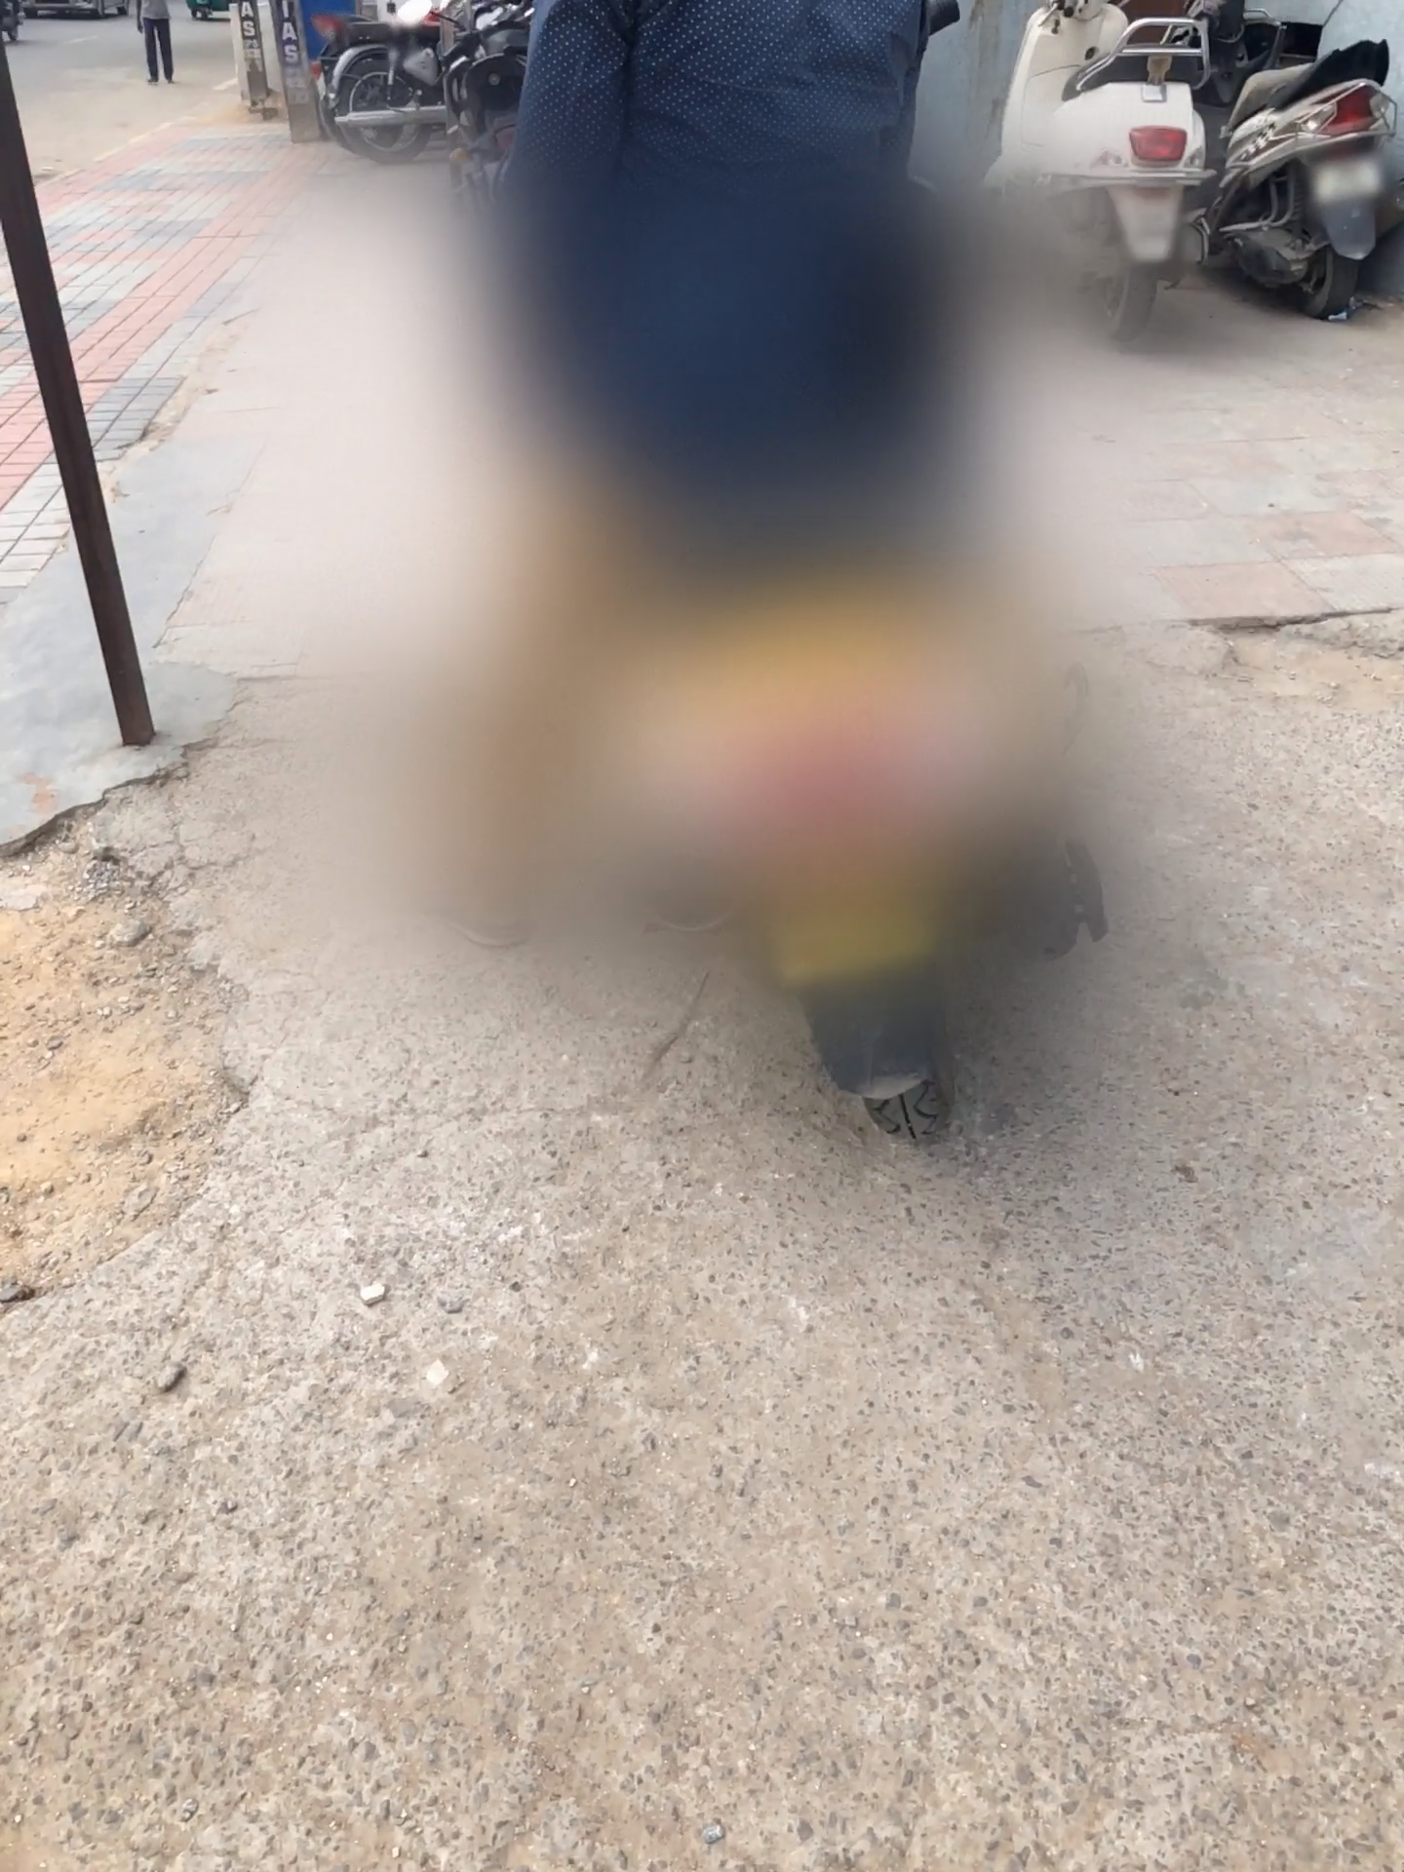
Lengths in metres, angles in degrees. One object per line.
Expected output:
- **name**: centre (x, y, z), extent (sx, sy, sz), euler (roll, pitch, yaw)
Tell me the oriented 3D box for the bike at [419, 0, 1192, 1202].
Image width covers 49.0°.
- **bike**: centre (0.044, -0.655, 2.072), extent (0.584, 1.152, 1.537), euler (-1, 35, -2)
